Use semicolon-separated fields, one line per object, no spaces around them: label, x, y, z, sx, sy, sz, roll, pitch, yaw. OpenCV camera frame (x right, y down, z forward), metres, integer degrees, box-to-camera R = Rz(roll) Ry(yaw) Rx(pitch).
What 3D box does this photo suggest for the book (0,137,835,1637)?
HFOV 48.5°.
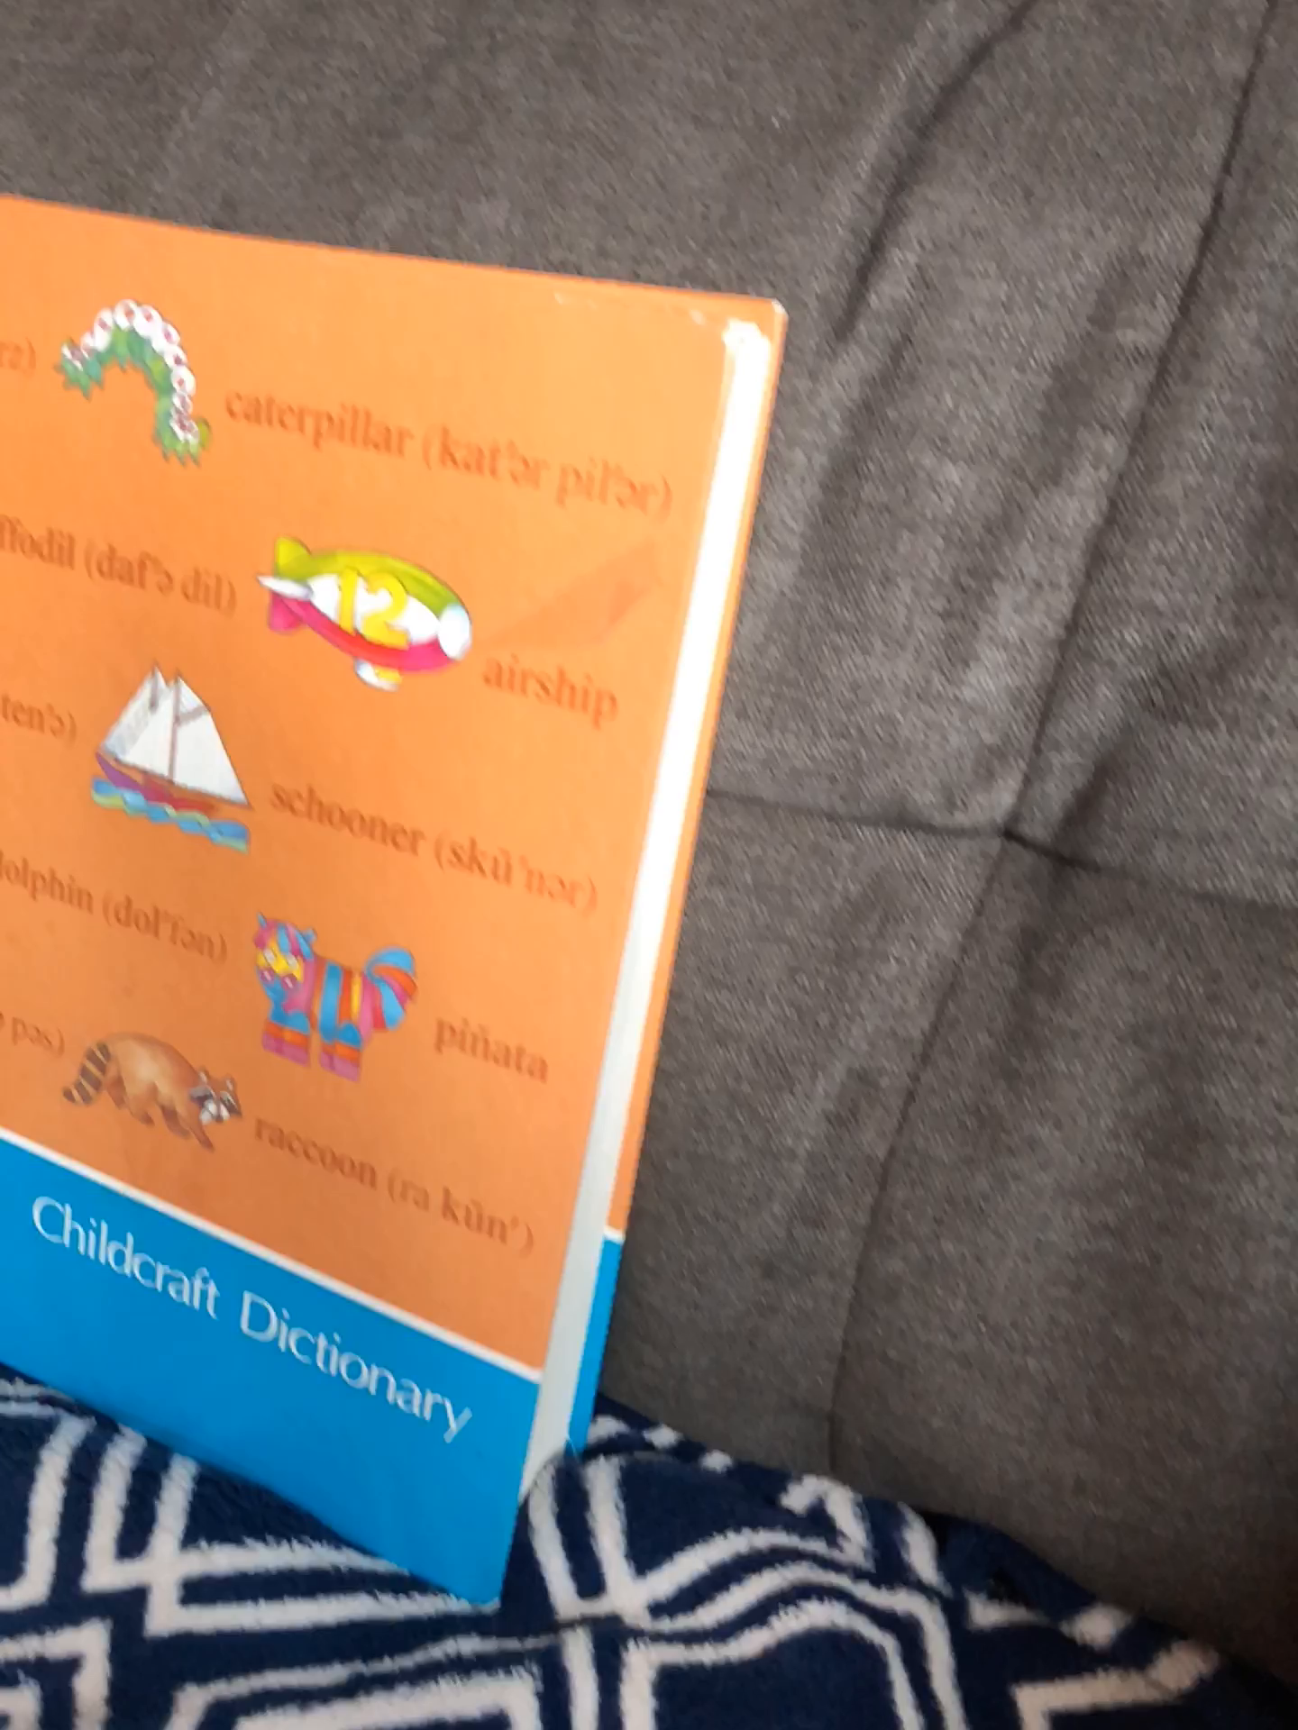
book;-0.094;0.001;0.314;0.210;0.260;0.055;17;19;19
